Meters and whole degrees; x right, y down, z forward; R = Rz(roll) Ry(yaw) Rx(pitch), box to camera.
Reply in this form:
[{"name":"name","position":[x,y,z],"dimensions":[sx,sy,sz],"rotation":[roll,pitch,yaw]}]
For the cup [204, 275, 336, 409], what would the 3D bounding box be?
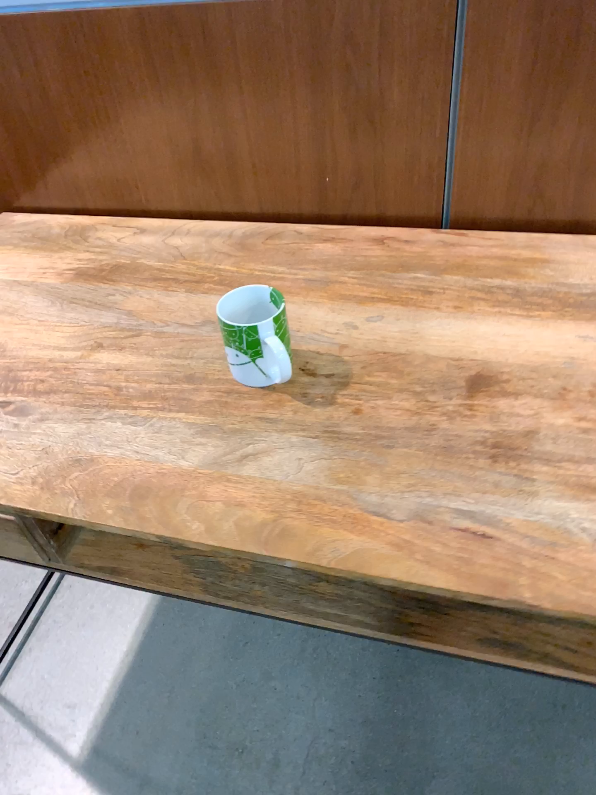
[{"name":"cup","position":[-0.032,-0.067,0.693],"dimensions":[0.100,0.070,0.121],"rotation":[-23,45,-16]}]
